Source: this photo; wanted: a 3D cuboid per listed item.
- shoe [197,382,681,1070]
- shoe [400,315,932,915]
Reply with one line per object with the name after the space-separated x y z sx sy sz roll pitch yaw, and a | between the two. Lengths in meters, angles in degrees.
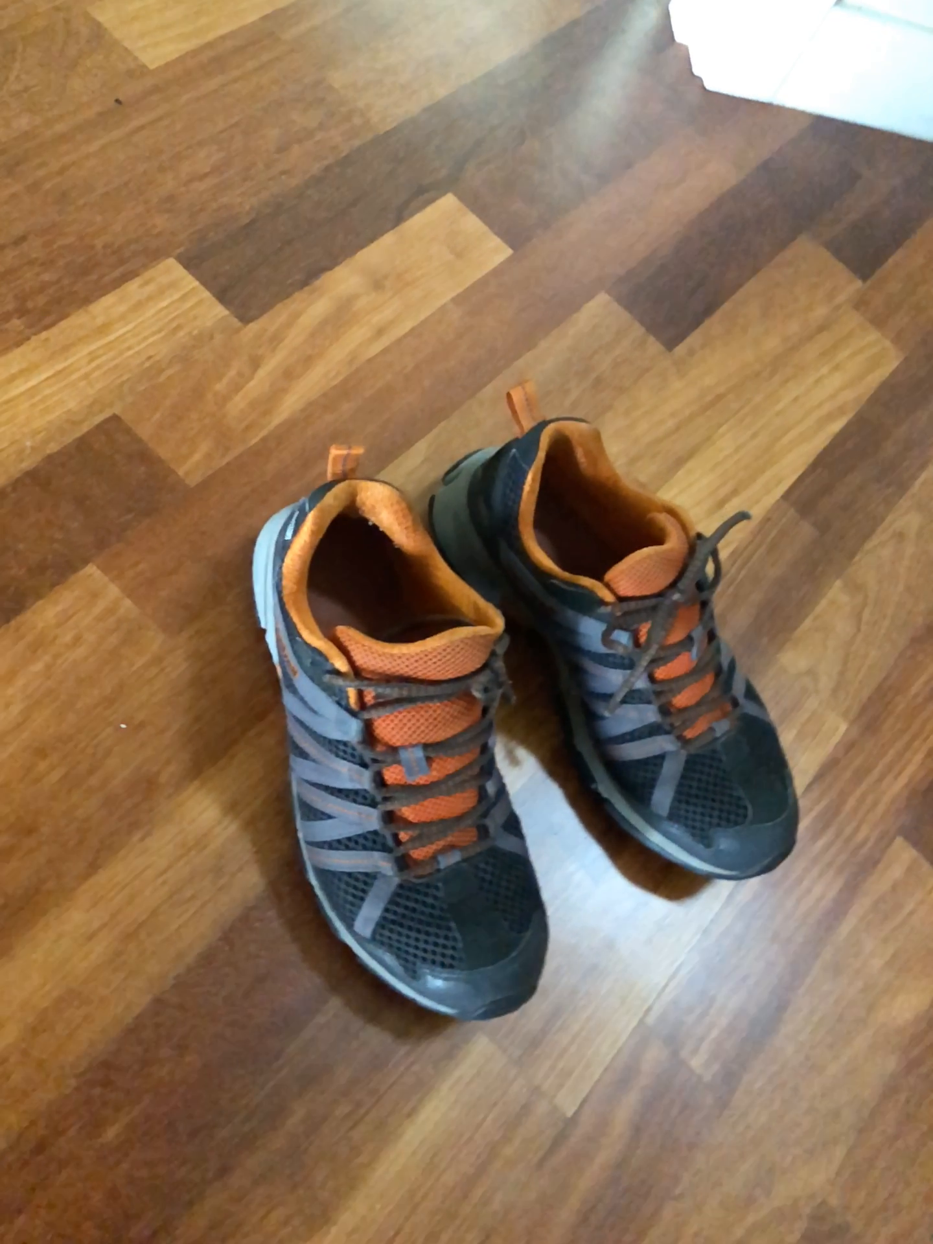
-0.029 0.046 0.485 0.113 0.117 0.282 -15 72 -22 | shoe
0.100 -0.004 0.551 0.119 0.117 0.279 -29 78 -26 | shoe
